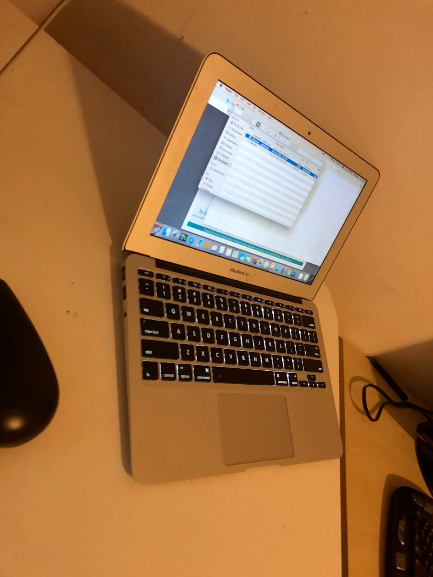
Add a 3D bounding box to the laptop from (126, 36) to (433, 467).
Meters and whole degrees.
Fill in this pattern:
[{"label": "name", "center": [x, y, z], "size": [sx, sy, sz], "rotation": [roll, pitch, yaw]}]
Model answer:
[{"label": "laptop", "center": [0.071, -0.010, 0.455], "size": [0.281, 0.127, 0.305], "rotation": [14, 63, -42]}]
